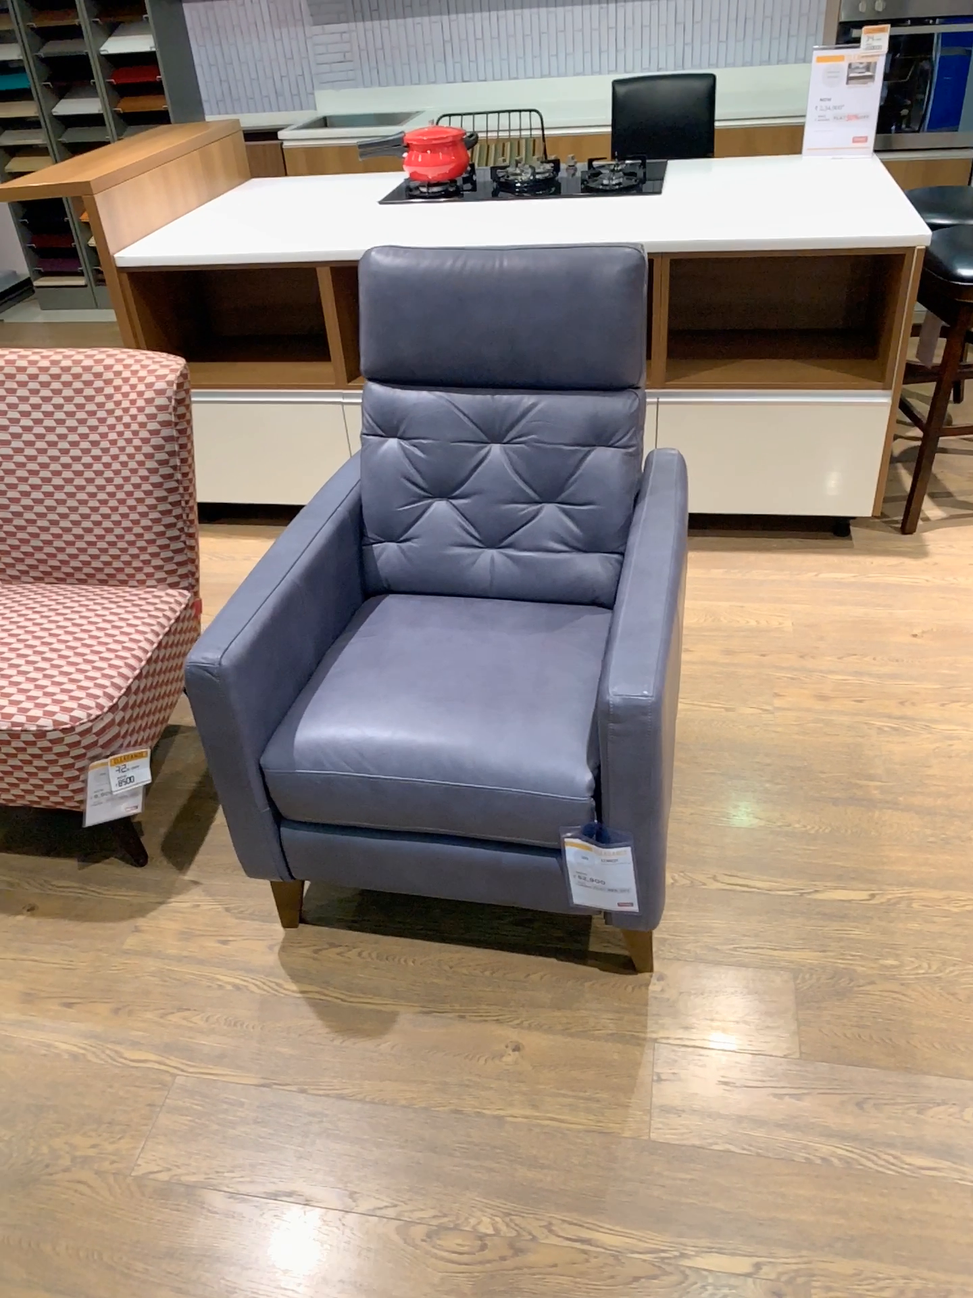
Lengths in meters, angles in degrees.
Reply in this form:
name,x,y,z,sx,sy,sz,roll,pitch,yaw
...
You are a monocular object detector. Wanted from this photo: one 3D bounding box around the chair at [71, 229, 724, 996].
name,x,y,z,sx,sy,sz,roll,pitch,yaw
chair,-0.014,-0.109,1.761,0.770,0.996,0.853,4,36,12
